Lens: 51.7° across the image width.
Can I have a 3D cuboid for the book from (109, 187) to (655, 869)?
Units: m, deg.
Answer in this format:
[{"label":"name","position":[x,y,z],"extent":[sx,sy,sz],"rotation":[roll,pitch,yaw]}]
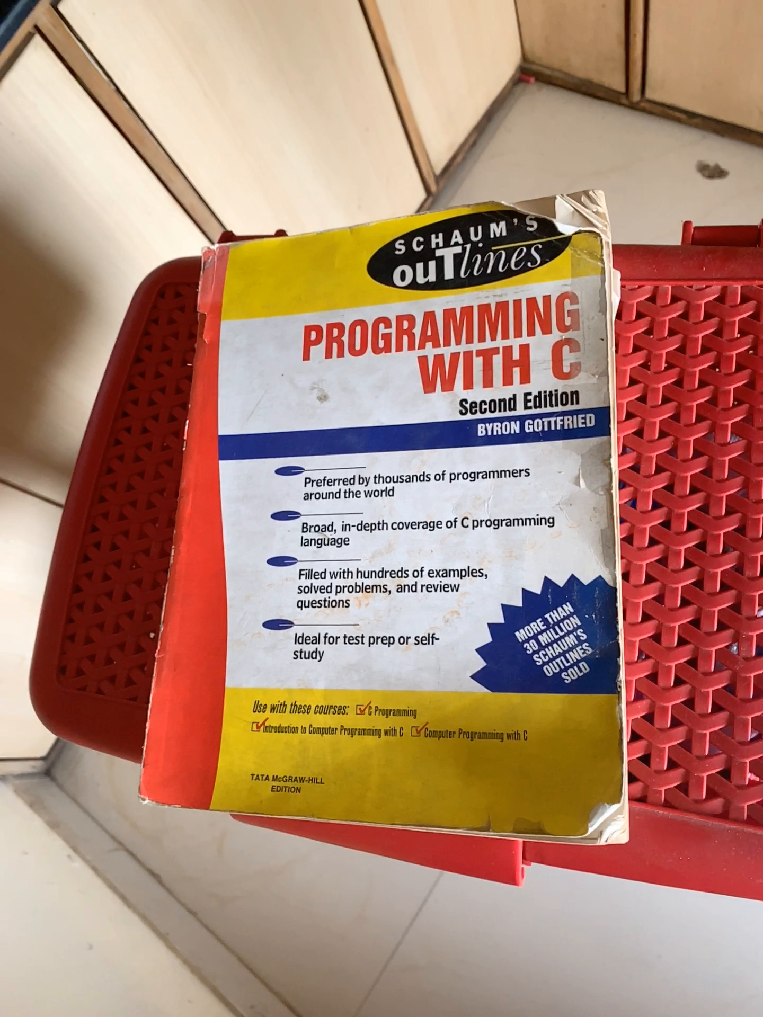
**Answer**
[{"label":"book","position":[0.004,0.001,0.333],"extent":[0.200,0.050,0.251],"rotation":[-2,73,17]}]
